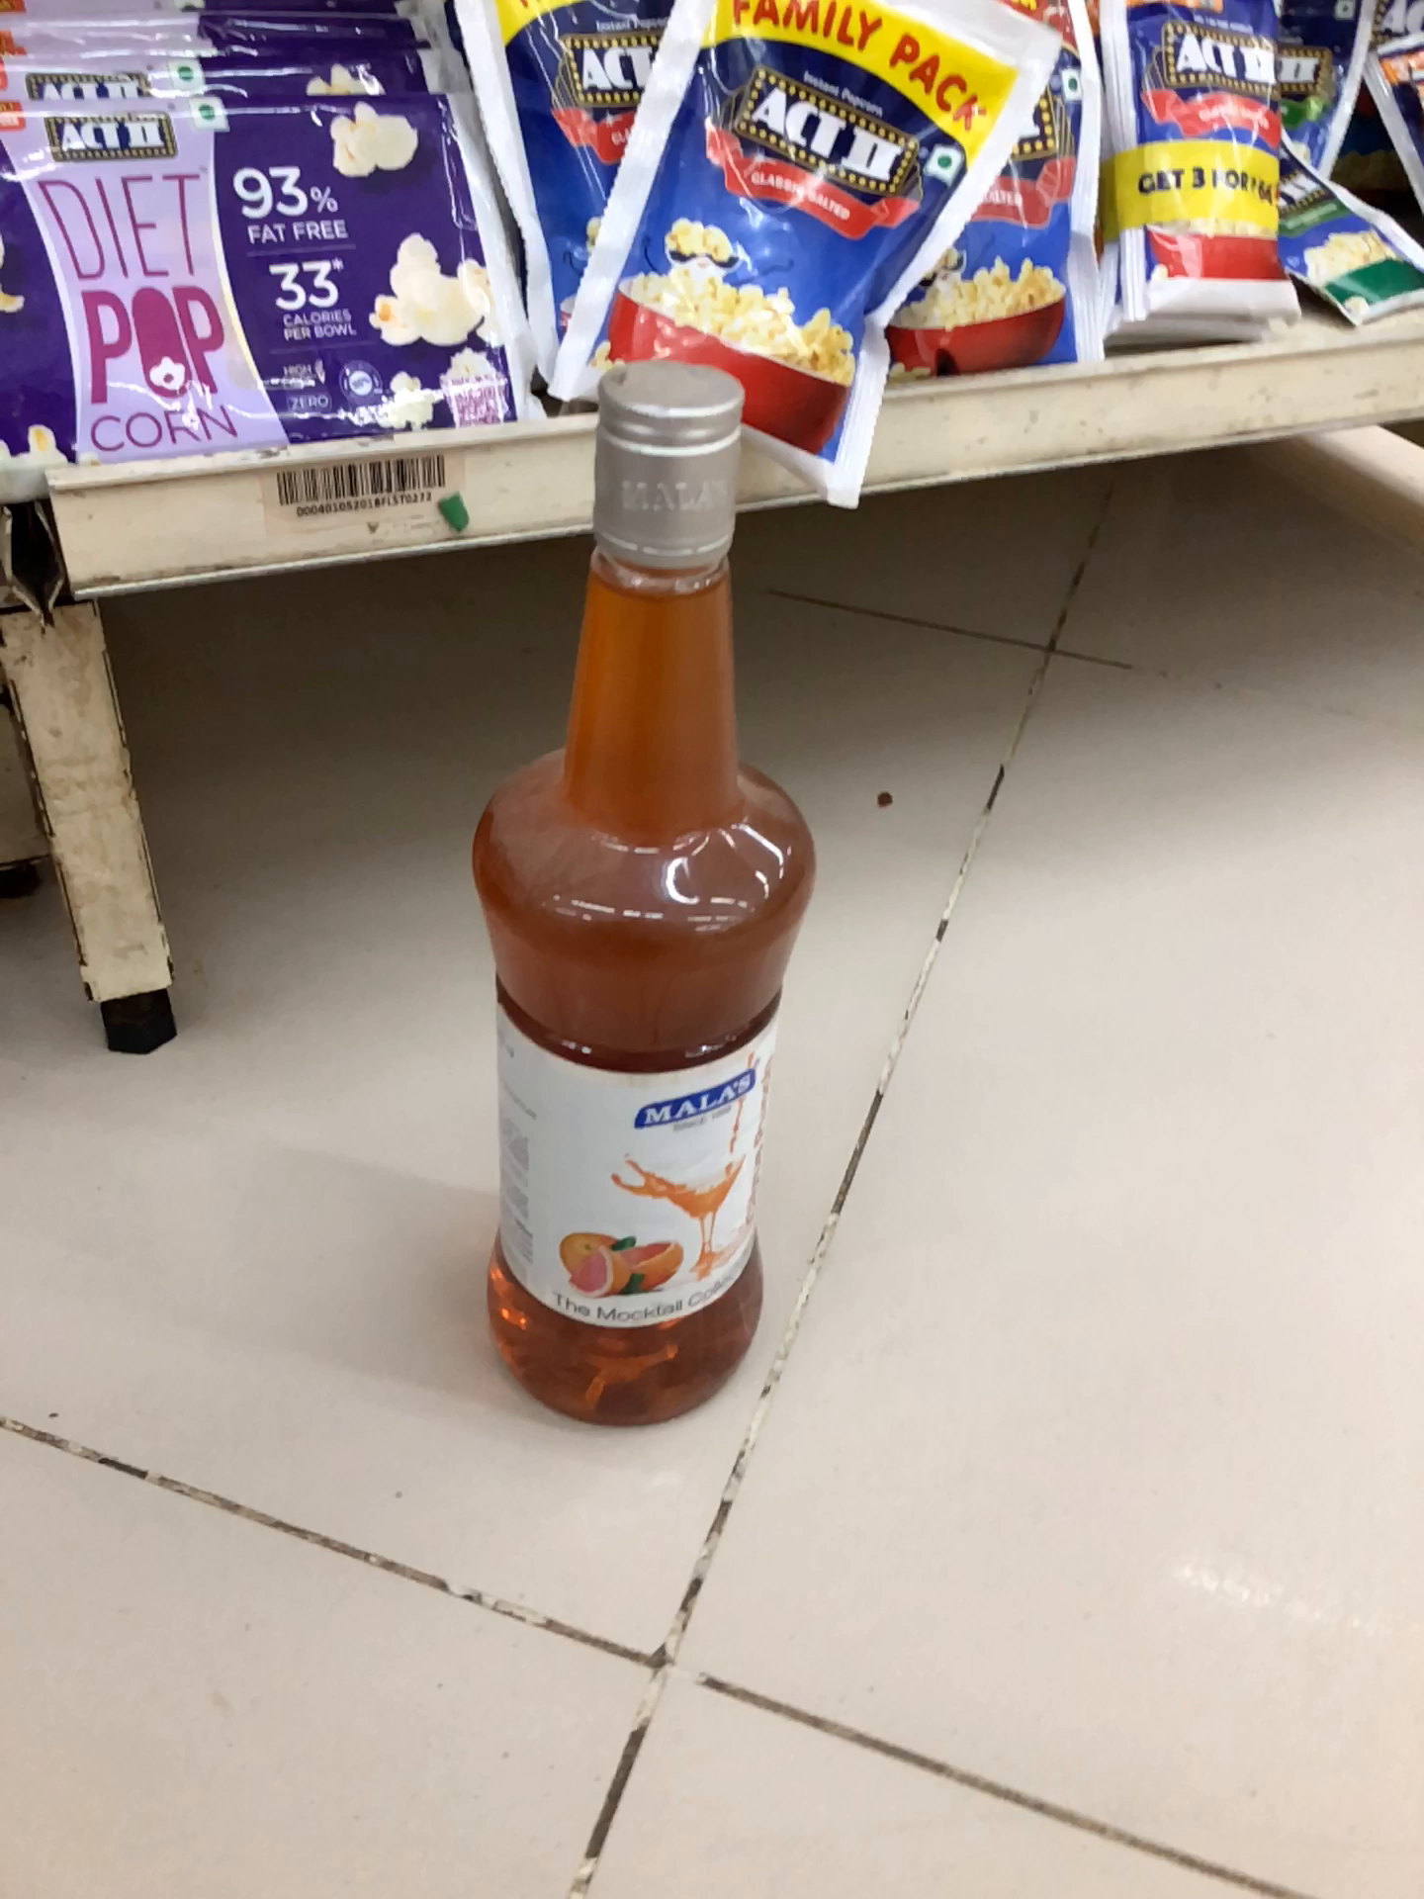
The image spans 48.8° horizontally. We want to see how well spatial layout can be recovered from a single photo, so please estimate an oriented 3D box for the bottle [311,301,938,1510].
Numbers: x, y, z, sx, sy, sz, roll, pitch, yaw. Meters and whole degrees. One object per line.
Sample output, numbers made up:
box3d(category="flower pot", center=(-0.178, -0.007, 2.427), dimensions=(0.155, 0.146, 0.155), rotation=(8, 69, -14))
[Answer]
box3d(category="bottle", center=(-0.026, 0.006, 0.391), dimensions=(0.090, 0.288, 0.090), rotation=(2, 40, -2))
